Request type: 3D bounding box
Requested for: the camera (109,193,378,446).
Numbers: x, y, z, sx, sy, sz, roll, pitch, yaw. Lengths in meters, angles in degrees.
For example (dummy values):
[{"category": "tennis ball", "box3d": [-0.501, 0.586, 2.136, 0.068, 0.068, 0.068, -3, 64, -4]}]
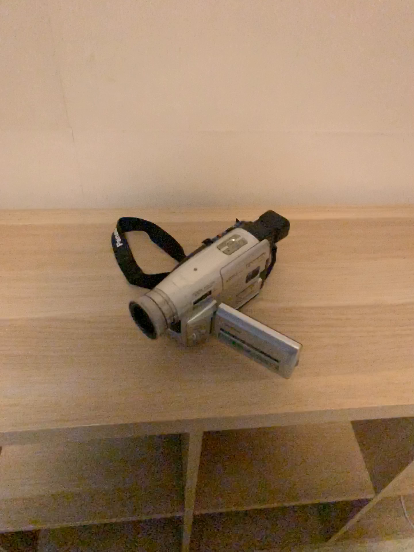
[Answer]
[{"category": "camera", "box3d": [0.046, 0.032, 0.527, 0.203, 0.109, 0.247, 35, 52, 28]}]
